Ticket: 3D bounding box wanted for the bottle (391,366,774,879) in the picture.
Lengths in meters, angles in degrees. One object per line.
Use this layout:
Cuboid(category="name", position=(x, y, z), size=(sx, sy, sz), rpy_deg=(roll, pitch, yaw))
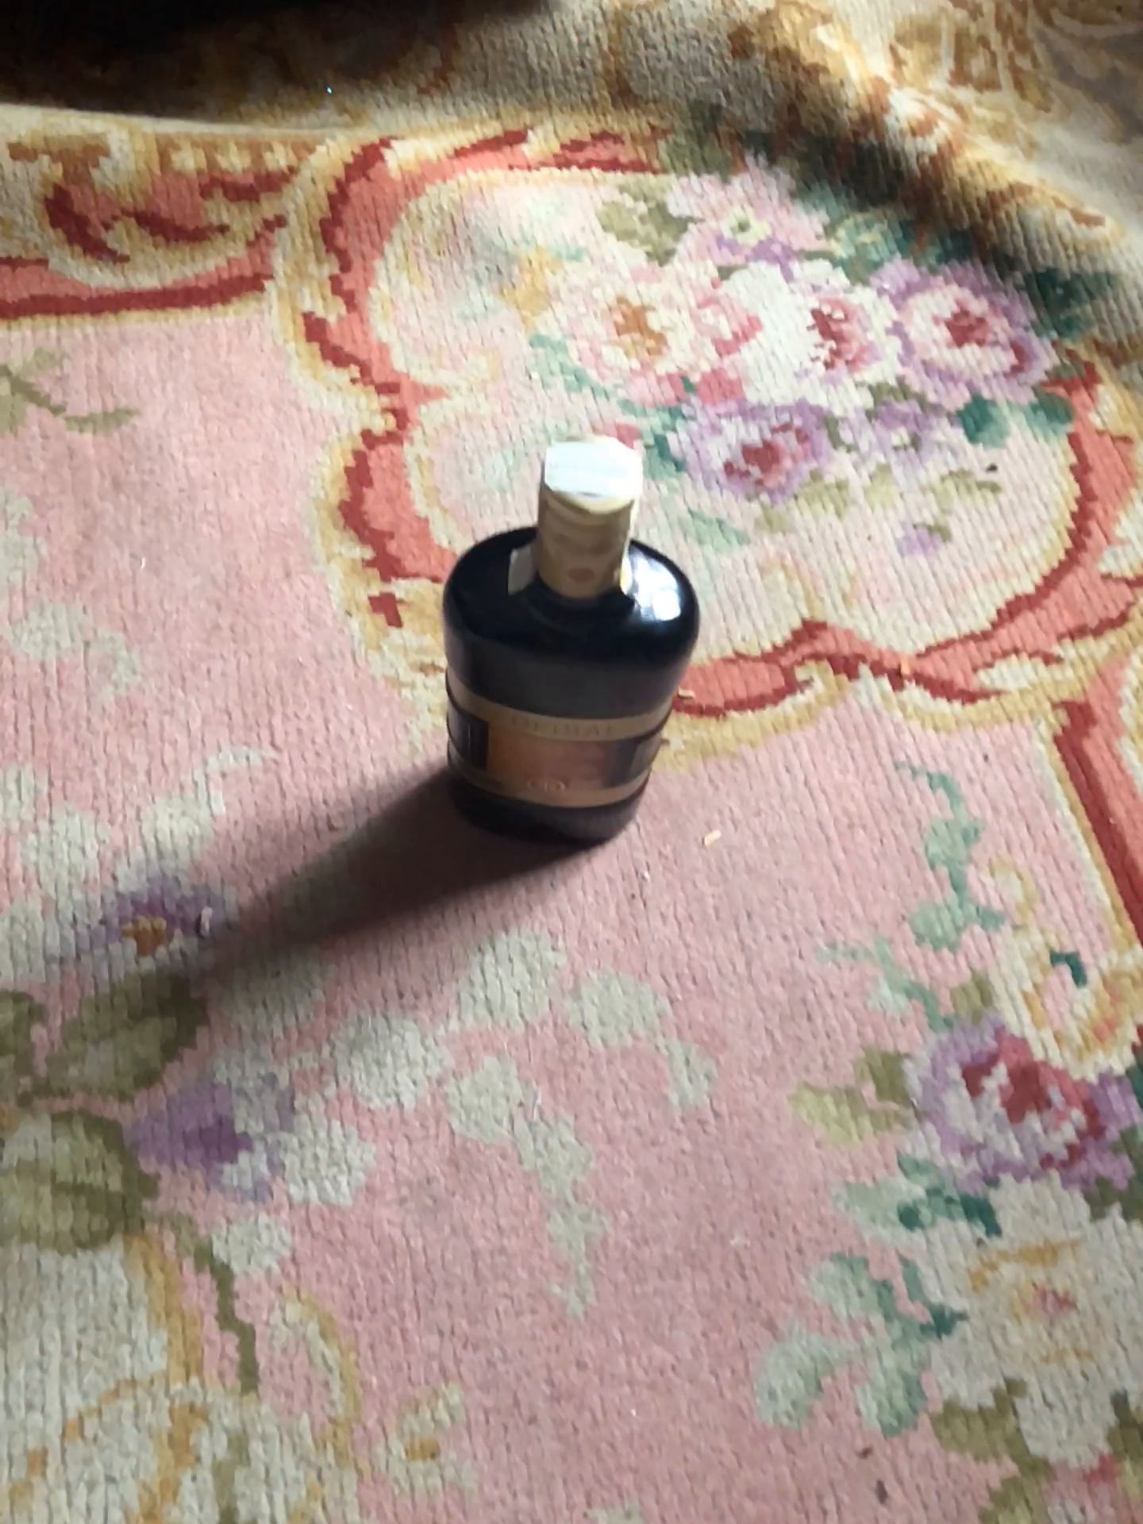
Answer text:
Cuboid(category="bottle", position=(-0.005, -0.031, 0.455), size=(0.100, 0.239, 0.050), rpy_deg=(10, 64, -1))
